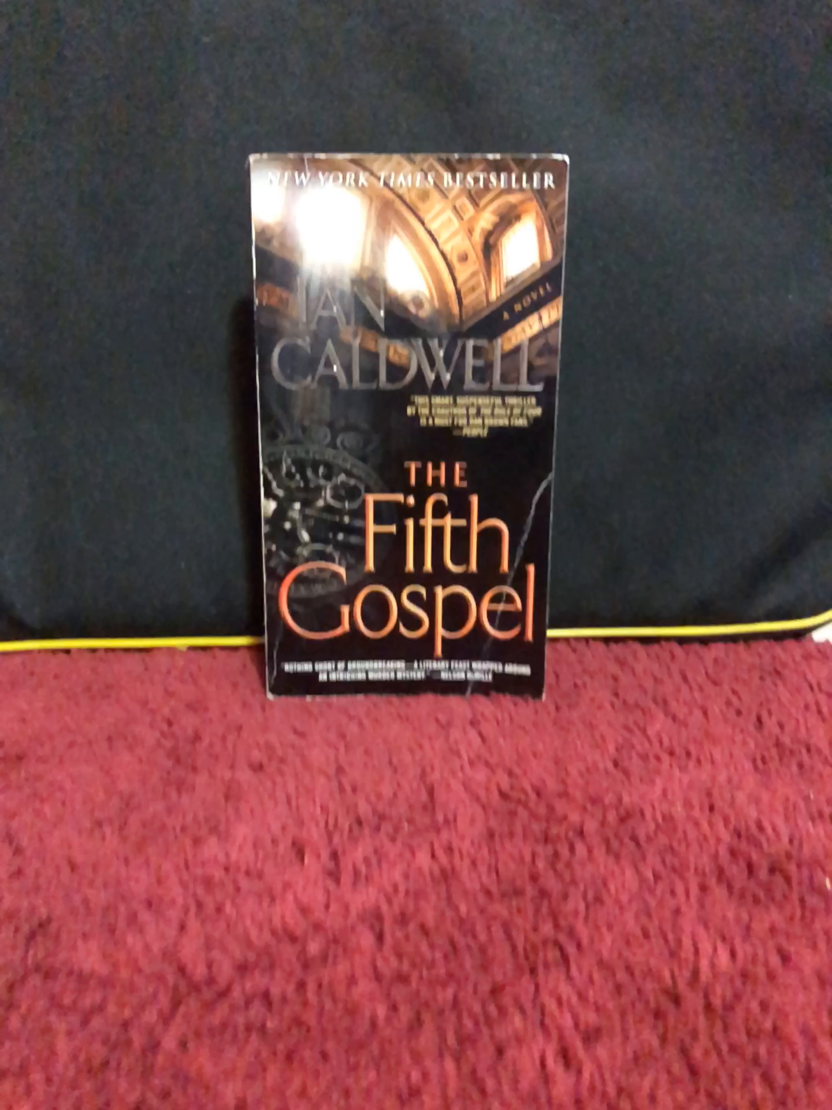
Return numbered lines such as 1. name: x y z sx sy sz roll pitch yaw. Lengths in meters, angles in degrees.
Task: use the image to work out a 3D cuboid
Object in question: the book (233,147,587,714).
1. book: -0.001 -0.045 0.358 0.120 0.199 0.050 1 12 5
